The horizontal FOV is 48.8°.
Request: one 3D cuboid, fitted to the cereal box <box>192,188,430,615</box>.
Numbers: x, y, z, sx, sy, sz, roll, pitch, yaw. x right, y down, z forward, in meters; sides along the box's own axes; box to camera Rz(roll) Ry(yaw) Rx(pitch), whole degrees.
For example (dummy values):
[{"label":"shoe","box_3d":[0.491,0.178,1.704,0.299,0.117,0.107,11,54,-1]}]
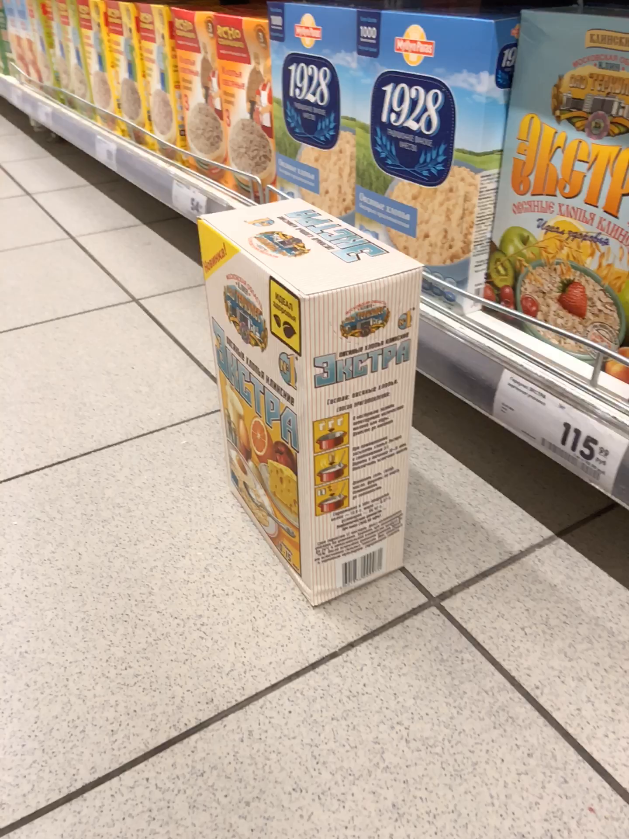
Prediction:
[{"label":"cereal box","box_3d":[-0.007,-0.014,0.477,0.080,0.239,0.151,-17,37,-23]}]
